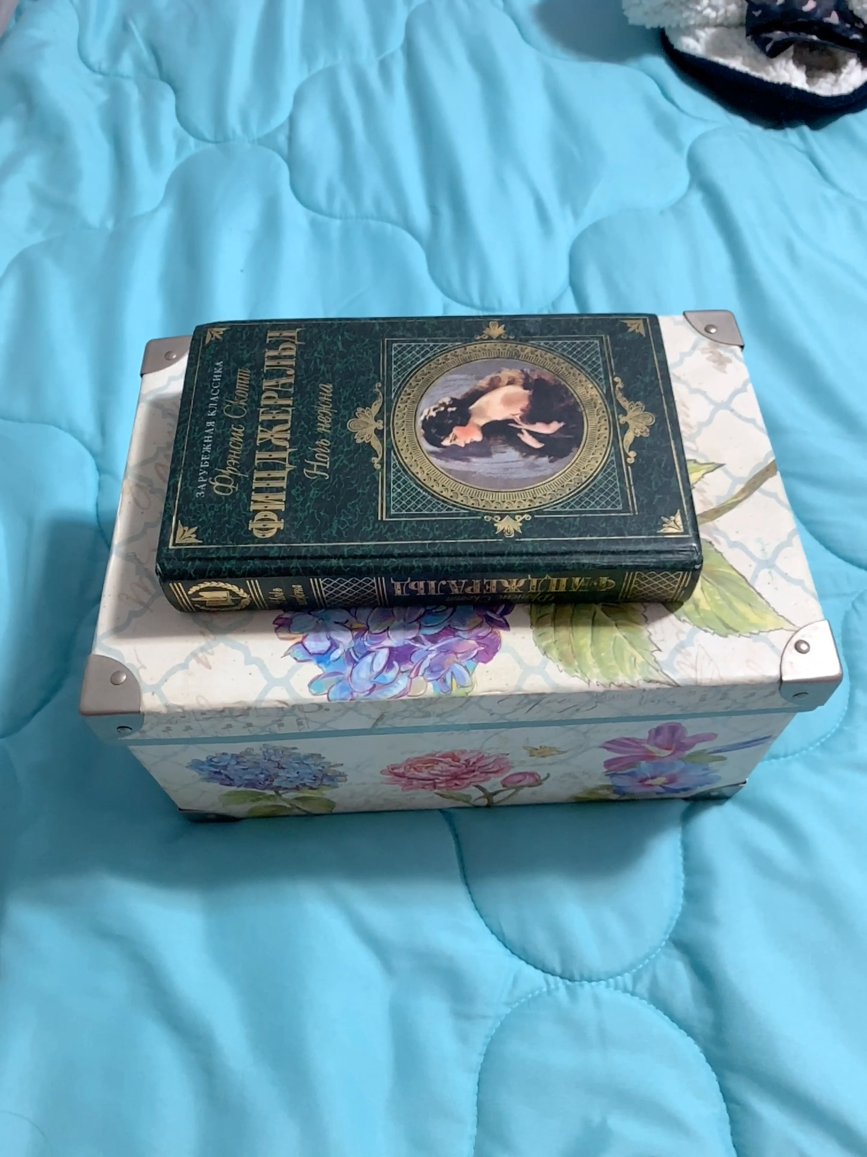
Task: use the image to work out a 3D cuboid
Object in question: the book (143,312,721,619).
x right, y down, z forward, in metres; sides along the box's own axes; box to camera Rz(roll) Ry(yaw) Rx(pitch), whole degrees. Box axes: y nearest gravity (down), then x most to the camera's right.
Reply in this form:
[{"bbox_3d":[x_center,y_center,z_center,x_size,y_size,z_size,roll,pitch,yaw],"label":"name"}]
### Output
[{"bbox_3d":[-0.002,-0.053,0.388,0.220,0.030,0.140,-1,59,0],"label":"book"}]
